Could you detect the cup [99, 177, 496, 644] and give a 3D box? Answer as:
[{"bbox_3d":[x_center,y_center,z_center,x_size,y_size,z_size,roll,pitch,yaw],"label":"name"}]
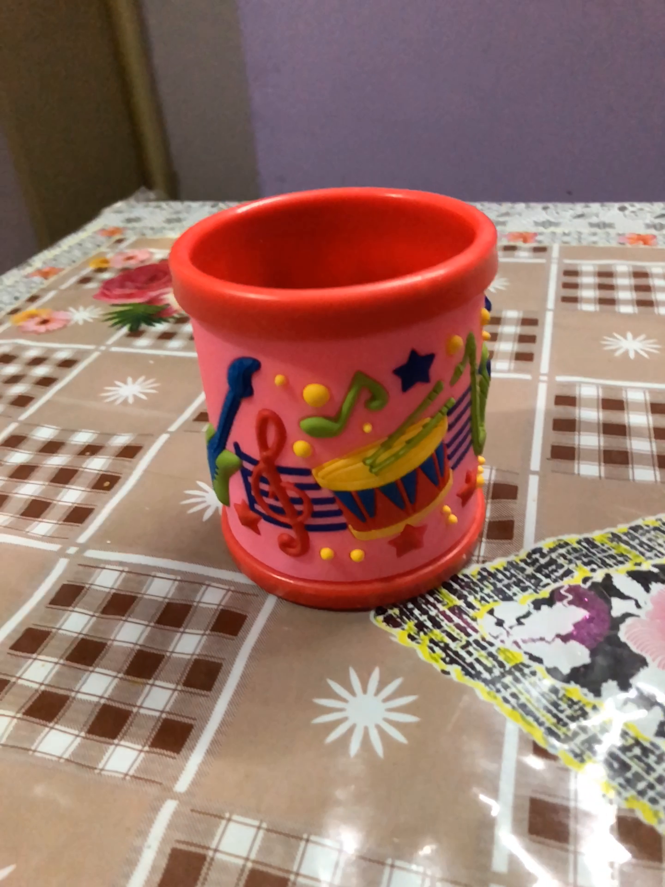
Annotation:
[{"bbox_3d":[0.000,-0.011,0.207,0.080,0.099,0.081,-3,33,2],"label":"cup"}]
